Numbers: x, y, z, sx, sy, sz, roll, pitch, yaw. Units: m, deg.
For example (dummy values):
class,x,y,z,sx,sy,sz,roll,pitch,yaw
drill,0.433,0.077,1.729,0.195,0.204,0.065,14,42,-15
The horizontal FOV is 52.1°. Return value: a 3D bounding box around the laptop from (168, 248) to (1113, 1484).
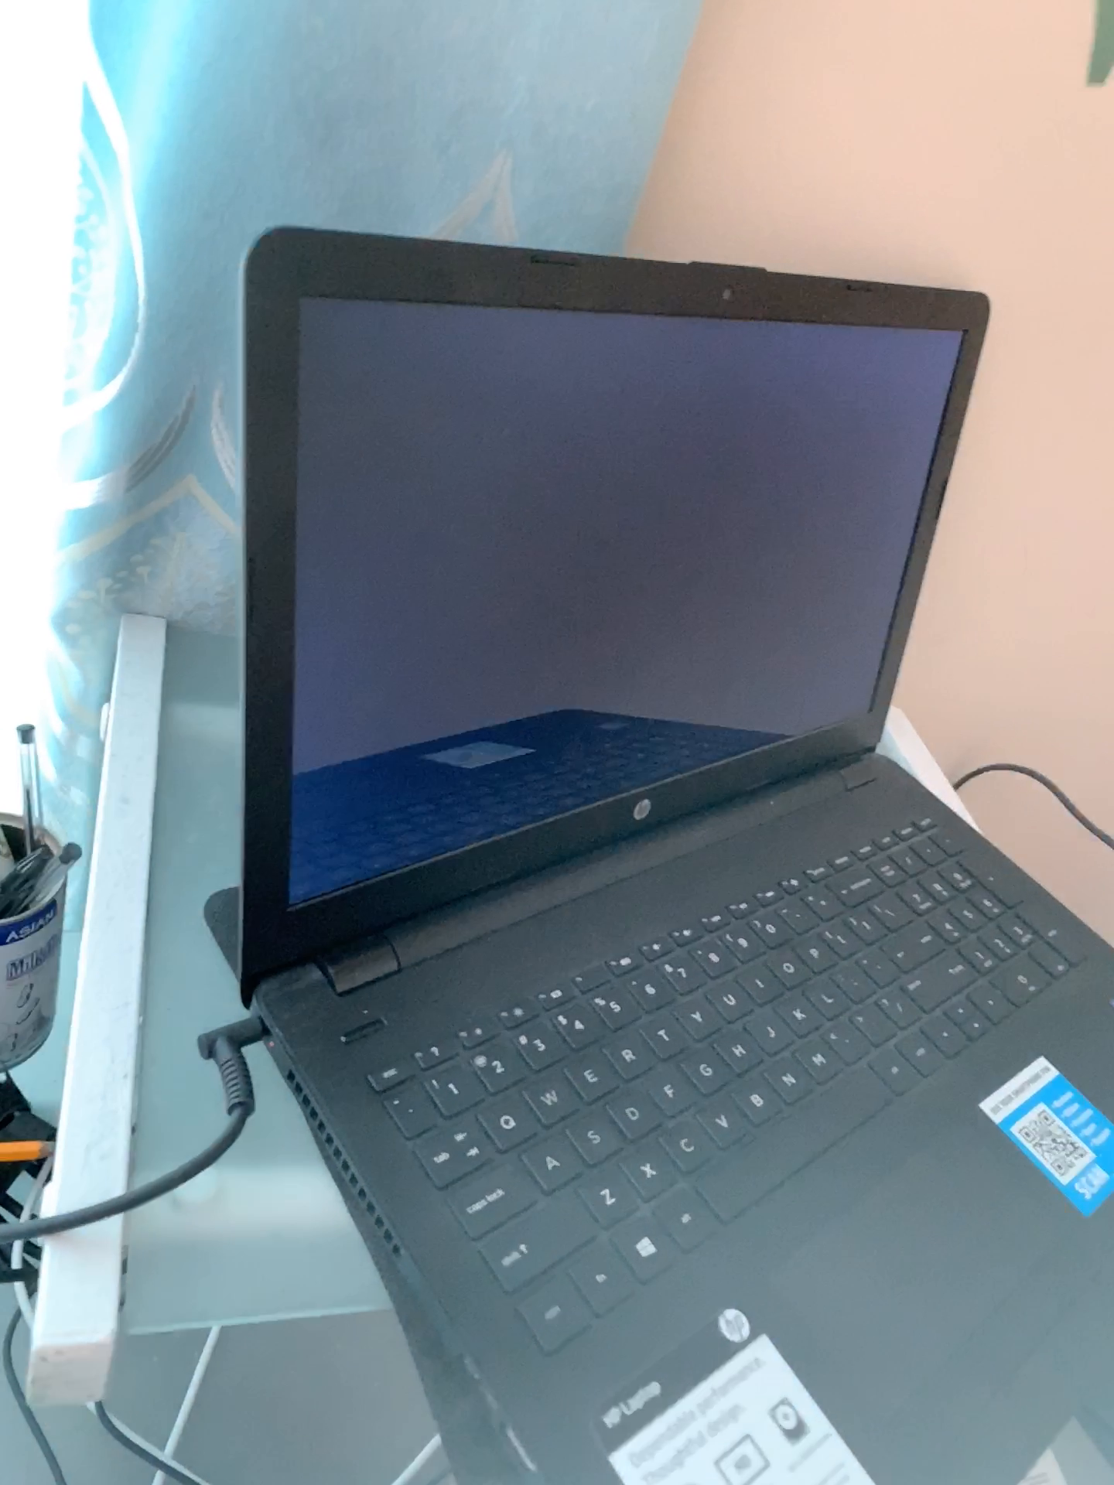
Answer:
class,x,y,z,sx,sy,sz,roll,pitch,yaw
laptop,0.120,0.018,0.383,0.365,0.222,0.308,-15,49,-40
